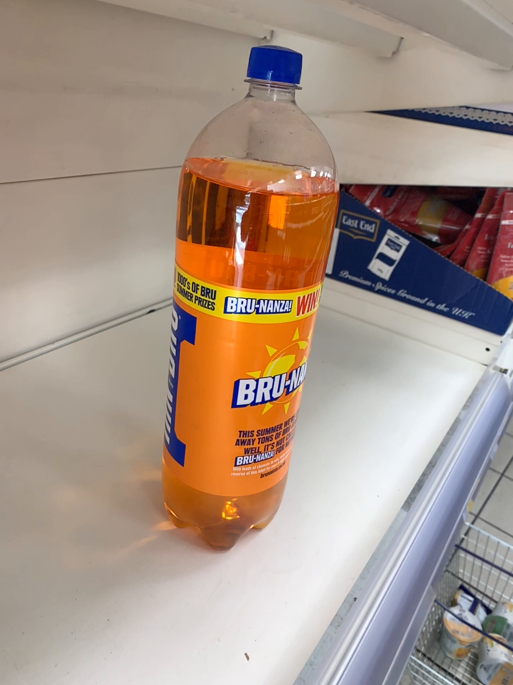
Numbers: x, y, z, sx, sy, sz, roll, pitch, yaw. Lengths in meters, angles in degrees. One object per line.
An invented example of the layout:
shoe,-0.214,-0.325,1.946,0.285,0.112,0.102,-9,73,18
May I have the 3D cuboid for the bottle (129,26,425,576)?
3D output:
bottle,-0.006,-0.018,0.365,0.110,0.327,0.111,7,27,-4
